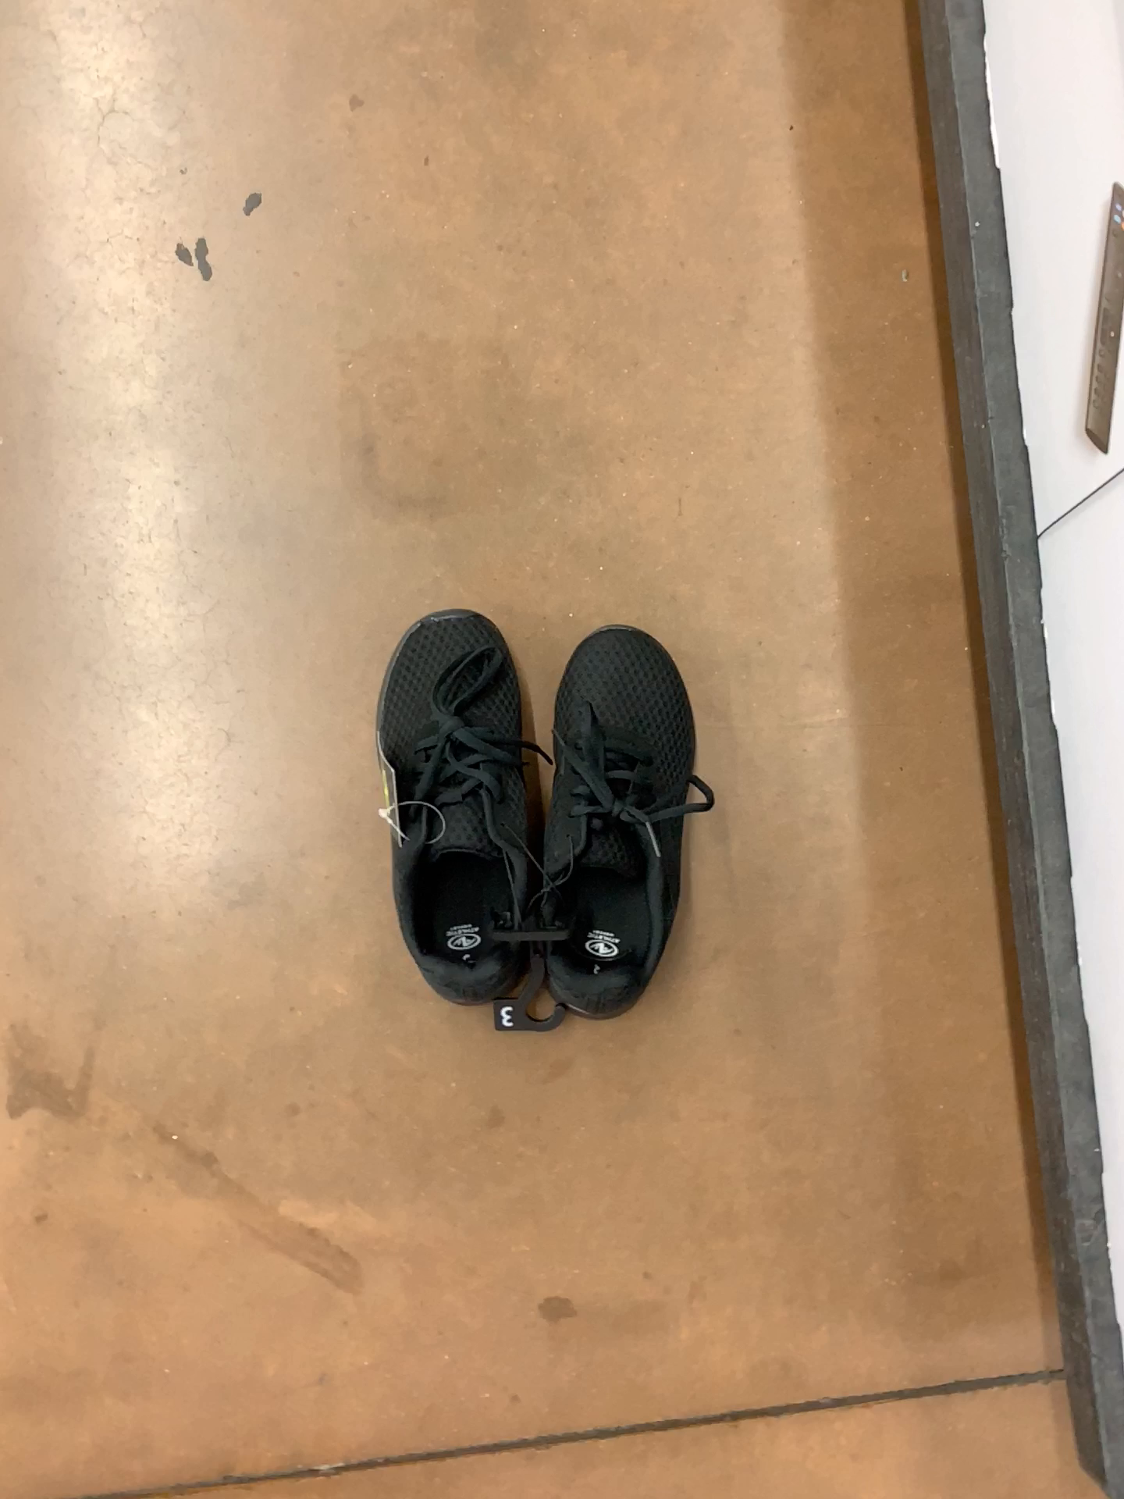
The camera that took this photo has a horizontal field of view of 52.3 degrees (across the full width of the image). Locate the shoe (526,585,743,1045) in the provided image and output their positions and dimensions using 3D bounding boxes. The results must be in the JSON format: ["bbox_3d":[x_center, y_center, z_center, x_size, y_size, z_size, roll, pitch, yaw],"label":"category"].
[{"bbox_3d":[0.037,0.035,0.632,0.090,0.080,0.230,5,86,-4],"label":"shoe"}]

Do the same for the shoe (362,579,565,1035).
[{"bbox_3d":[-0.054,0.030,0.631,0.090,0.080,0.230,-4,87,-5],"label":"shoe"}]
